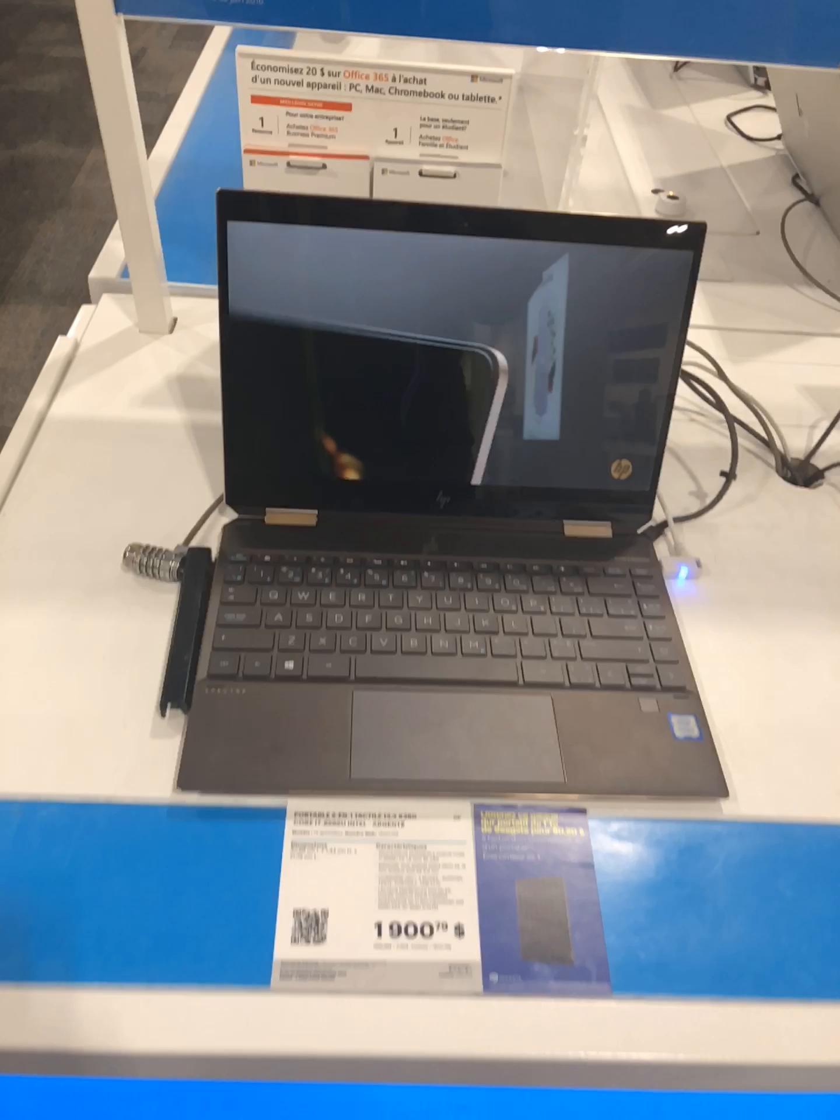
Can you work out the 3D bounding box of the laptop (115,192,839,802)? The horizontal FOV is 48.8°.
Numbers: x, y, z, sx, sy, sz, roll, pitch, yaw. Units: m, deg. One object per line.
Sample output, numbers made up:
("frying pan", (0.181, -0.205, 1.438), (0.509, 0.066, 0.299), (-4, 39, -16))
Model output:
("laptop", (0.020, -0.043, 0.536), (0.297, 0.197, 0.286), (2, 45, -4))
